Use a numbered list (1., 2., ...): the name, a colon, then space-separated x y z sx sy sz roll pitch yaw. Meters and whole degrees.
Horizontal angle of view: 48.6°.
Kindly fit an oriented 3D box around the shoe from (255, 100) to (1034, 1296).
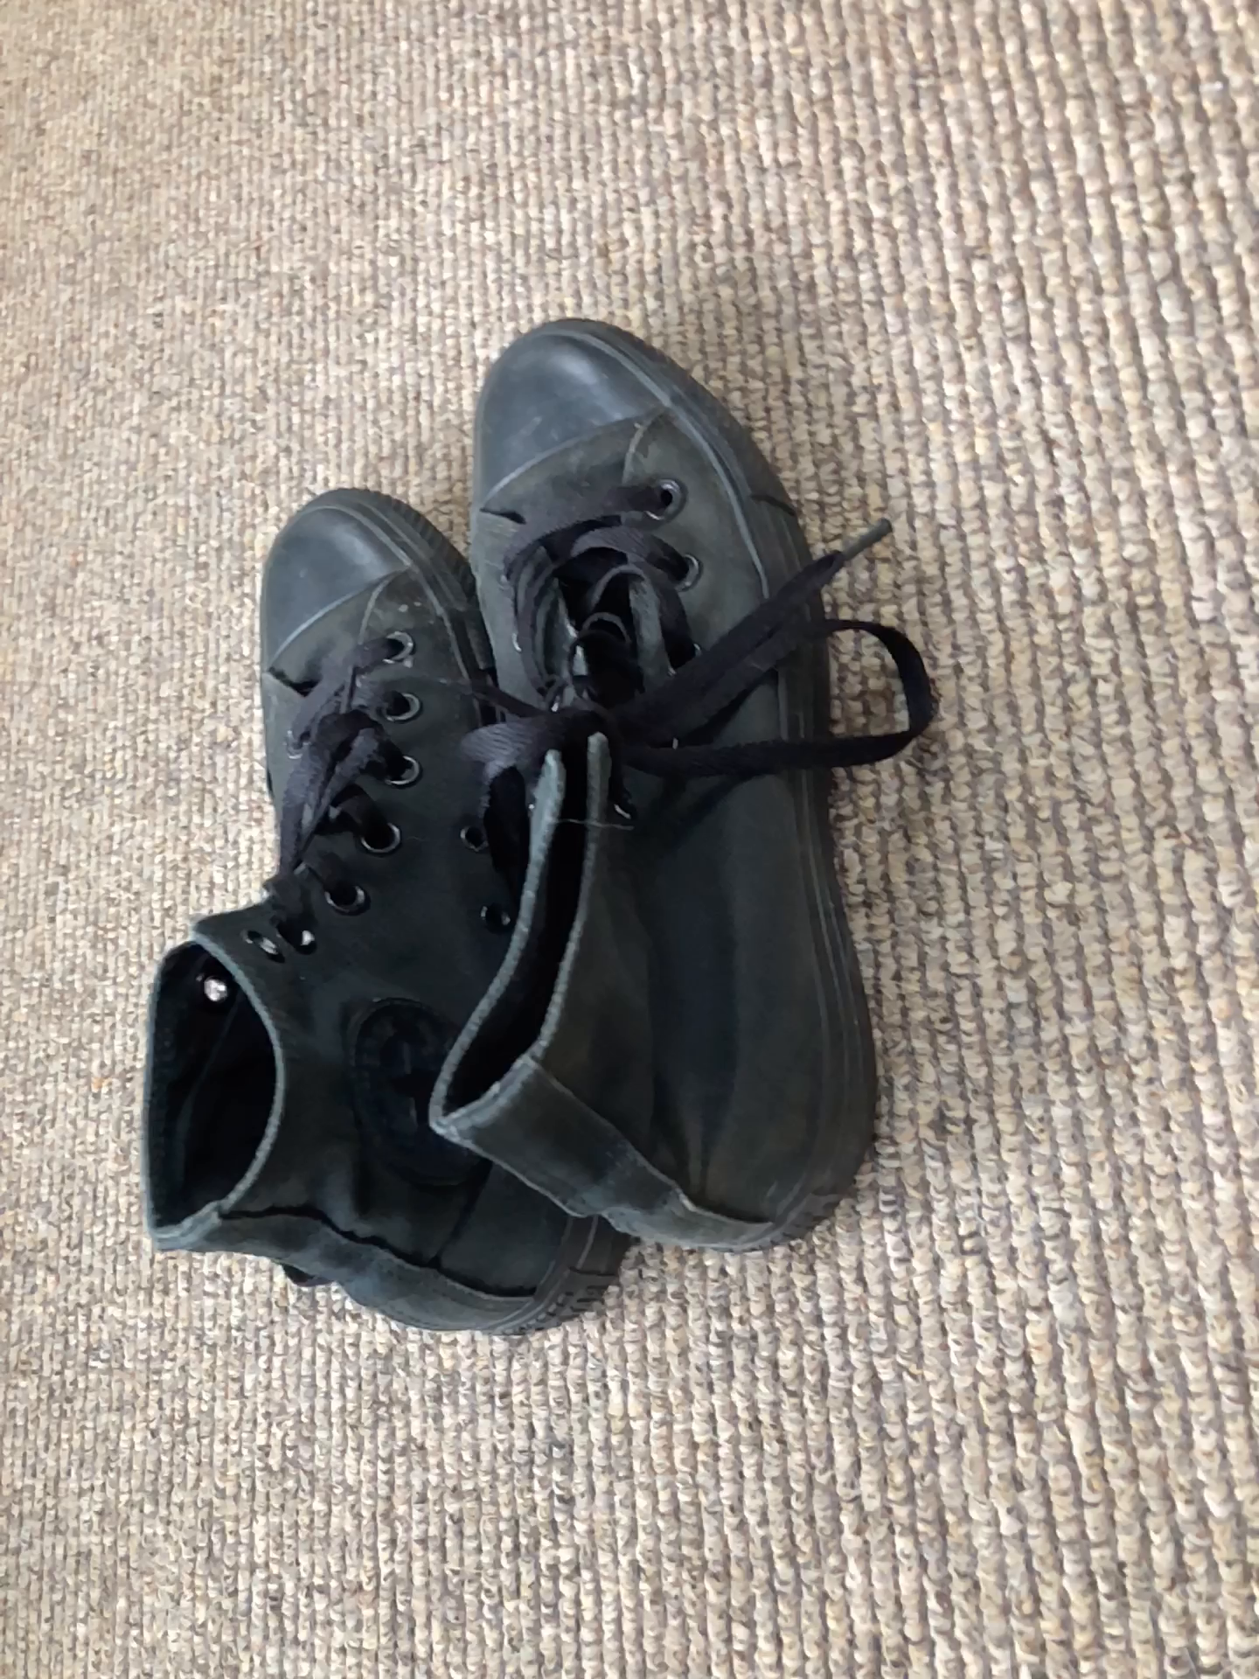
1. shoe: 0.000 -0.027 0.338 0.089 0.127 0.243 -24 65 26

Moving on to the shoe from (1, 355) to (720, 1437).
1. shoe: -0.075 0.016 0.369 0.089 0.127 0.236 -27 64 25
